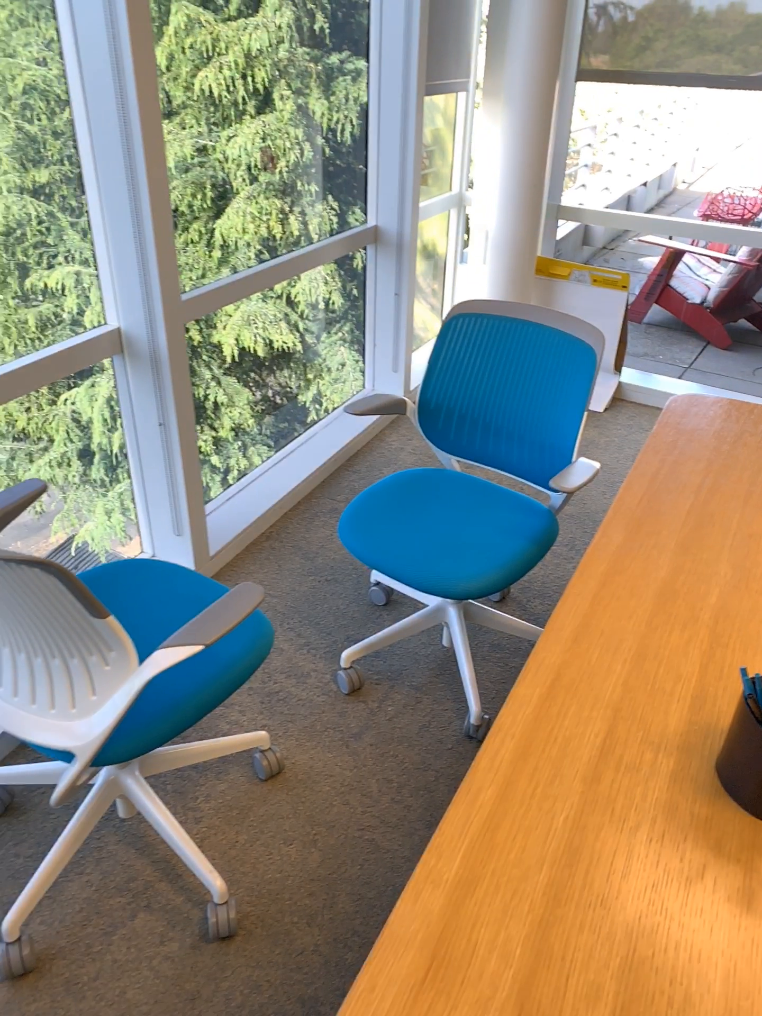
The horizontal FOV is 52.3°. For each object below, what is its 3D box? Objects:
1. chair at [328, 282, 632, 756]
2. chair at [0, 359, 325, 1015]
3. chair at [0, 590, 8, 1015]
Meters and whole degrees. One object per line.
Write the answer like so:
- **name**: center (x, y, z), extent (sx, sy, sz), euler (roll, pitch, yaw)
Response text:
- **chair**: center (0.257, 0.014, 2.247), extent (0.541, 1.094, 0.632), euler (20, 36, 27)
- **chair**: center (-0.553, 0.352, 1.518), extent (0.651, 1.014, 0.643), euler (14, 34, 19)
- **chair**: center (-1.212, 0.843, 0.979), extent (0.871, 1.133, 0.734), euler (8, 32, 10)
